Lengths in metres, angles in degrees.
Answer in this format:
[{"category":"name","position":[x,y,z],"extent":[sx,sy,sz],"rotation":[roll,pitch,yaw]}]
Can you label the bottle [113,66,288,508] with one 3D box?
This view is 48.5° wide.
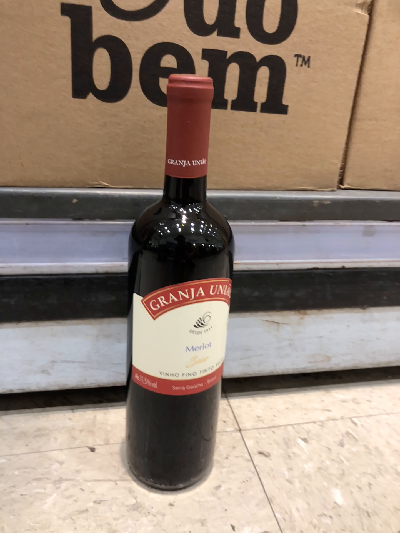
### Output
[{"category":"bottle","position":[-0.013,0.021,0.323],"extent":[0.080,0.298,0.080],"rotation":[4,21,-1]}]
